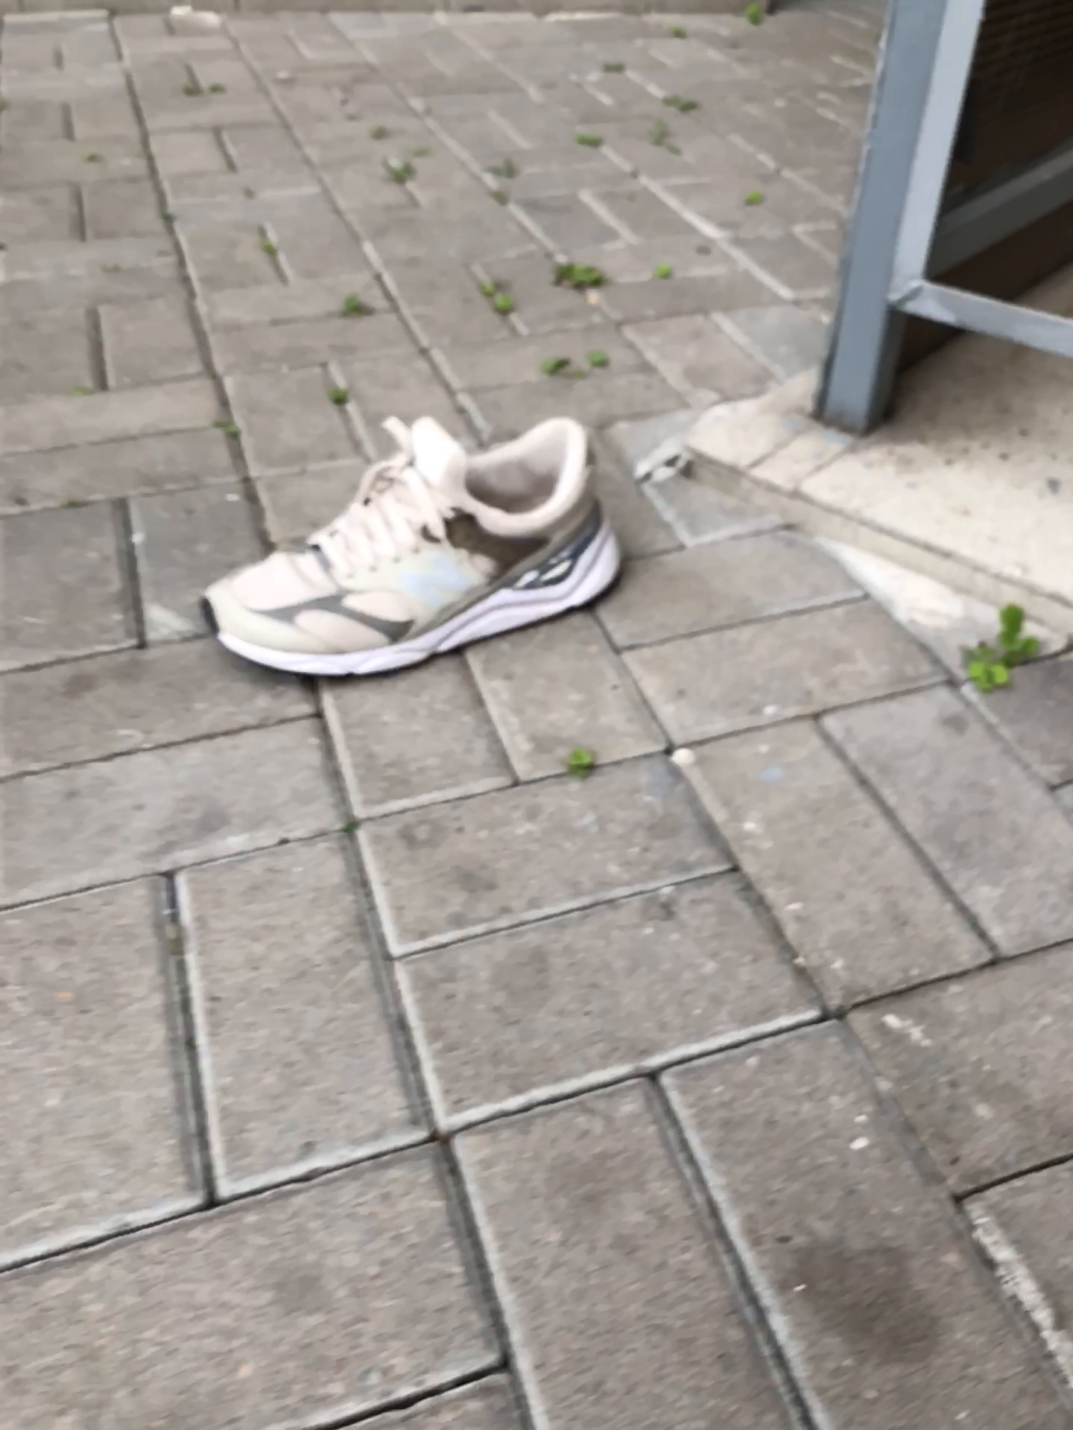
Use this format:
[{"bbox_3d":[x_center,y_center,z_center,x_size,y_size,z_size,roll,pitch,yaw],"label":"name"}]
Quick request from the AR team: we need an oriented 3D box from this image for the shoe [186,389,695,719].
[{"bbox_3d":[-0.060,-0.116,0.788,0.301,0.109,0.121,-17,43,-20],"label":"shoe"}]
